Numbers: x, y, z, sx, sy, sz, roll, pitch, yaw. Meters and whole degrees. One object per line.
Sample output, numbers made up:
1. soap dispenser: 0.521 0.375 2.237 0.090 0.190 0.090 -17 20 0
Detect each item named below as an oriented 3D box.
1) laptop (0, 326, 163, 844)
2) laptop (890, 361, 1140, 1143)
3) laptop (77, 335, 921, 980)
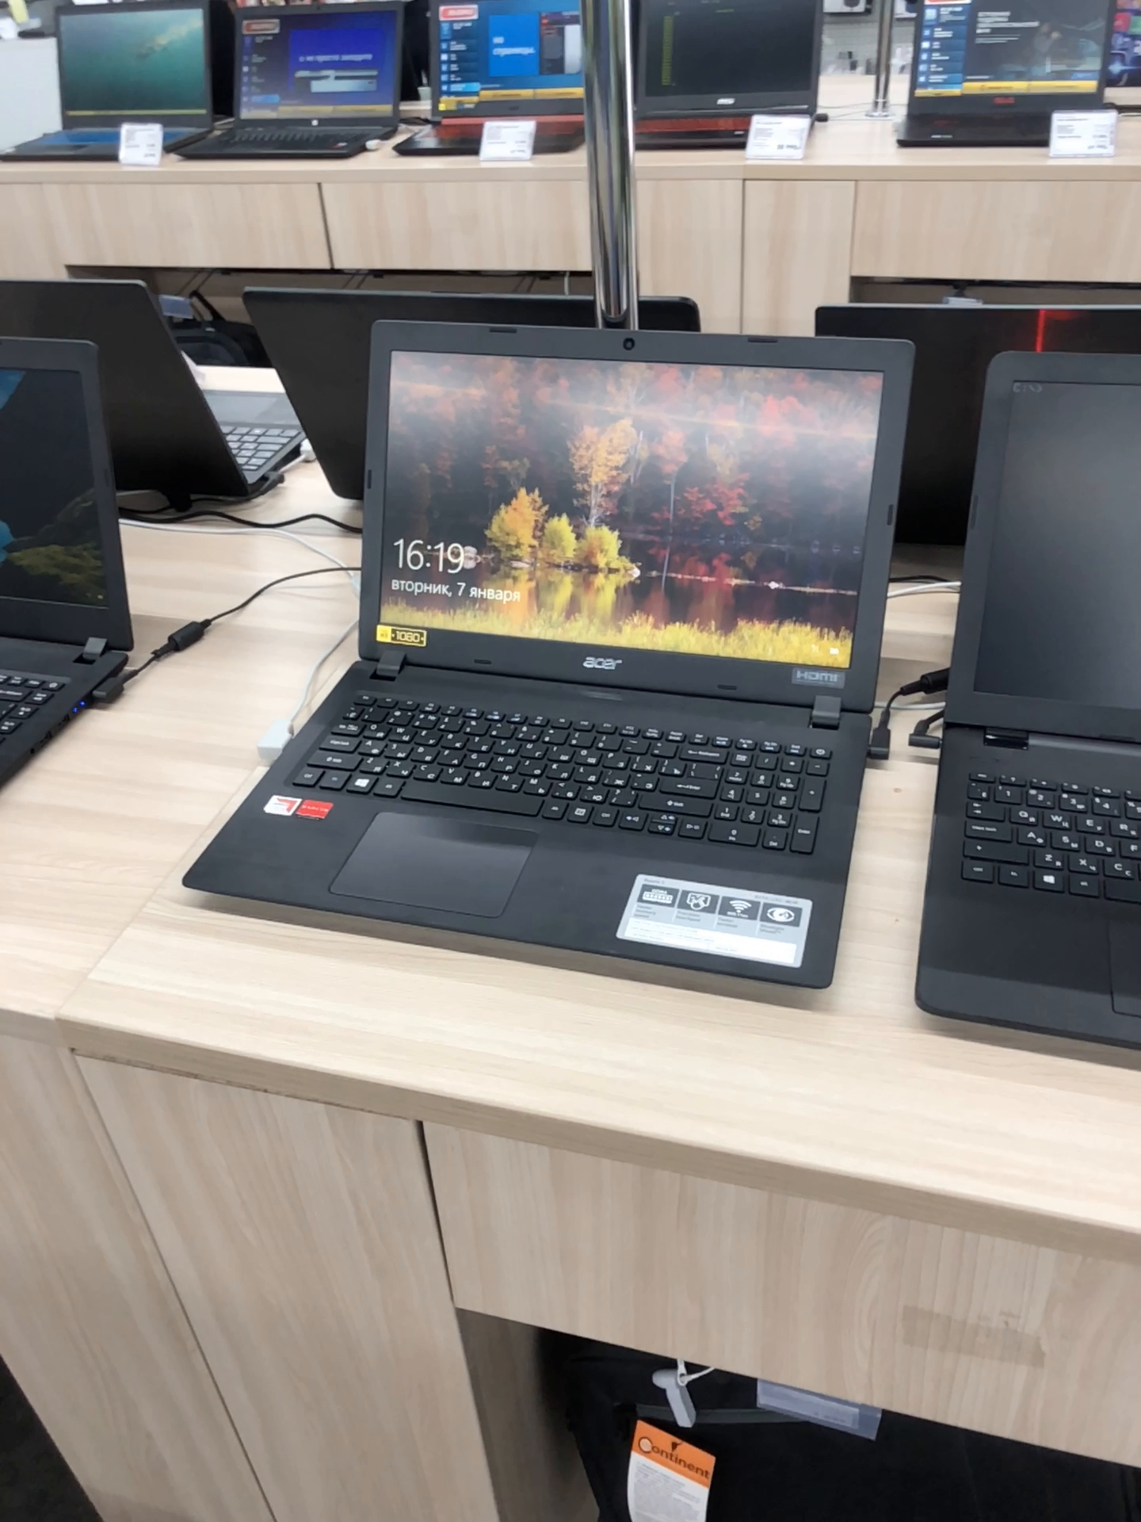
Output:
1. laptop: -0.531 -0.143 0.884 0.306 0.214 0.302 8 38 15
2. laptop: 0.394 -0.040 0.647 0.378 0.212 0.339 8 37 16
3. laptop: -0.001 -0.096 0.771 0.373 0.208 0.369 6 37 15
